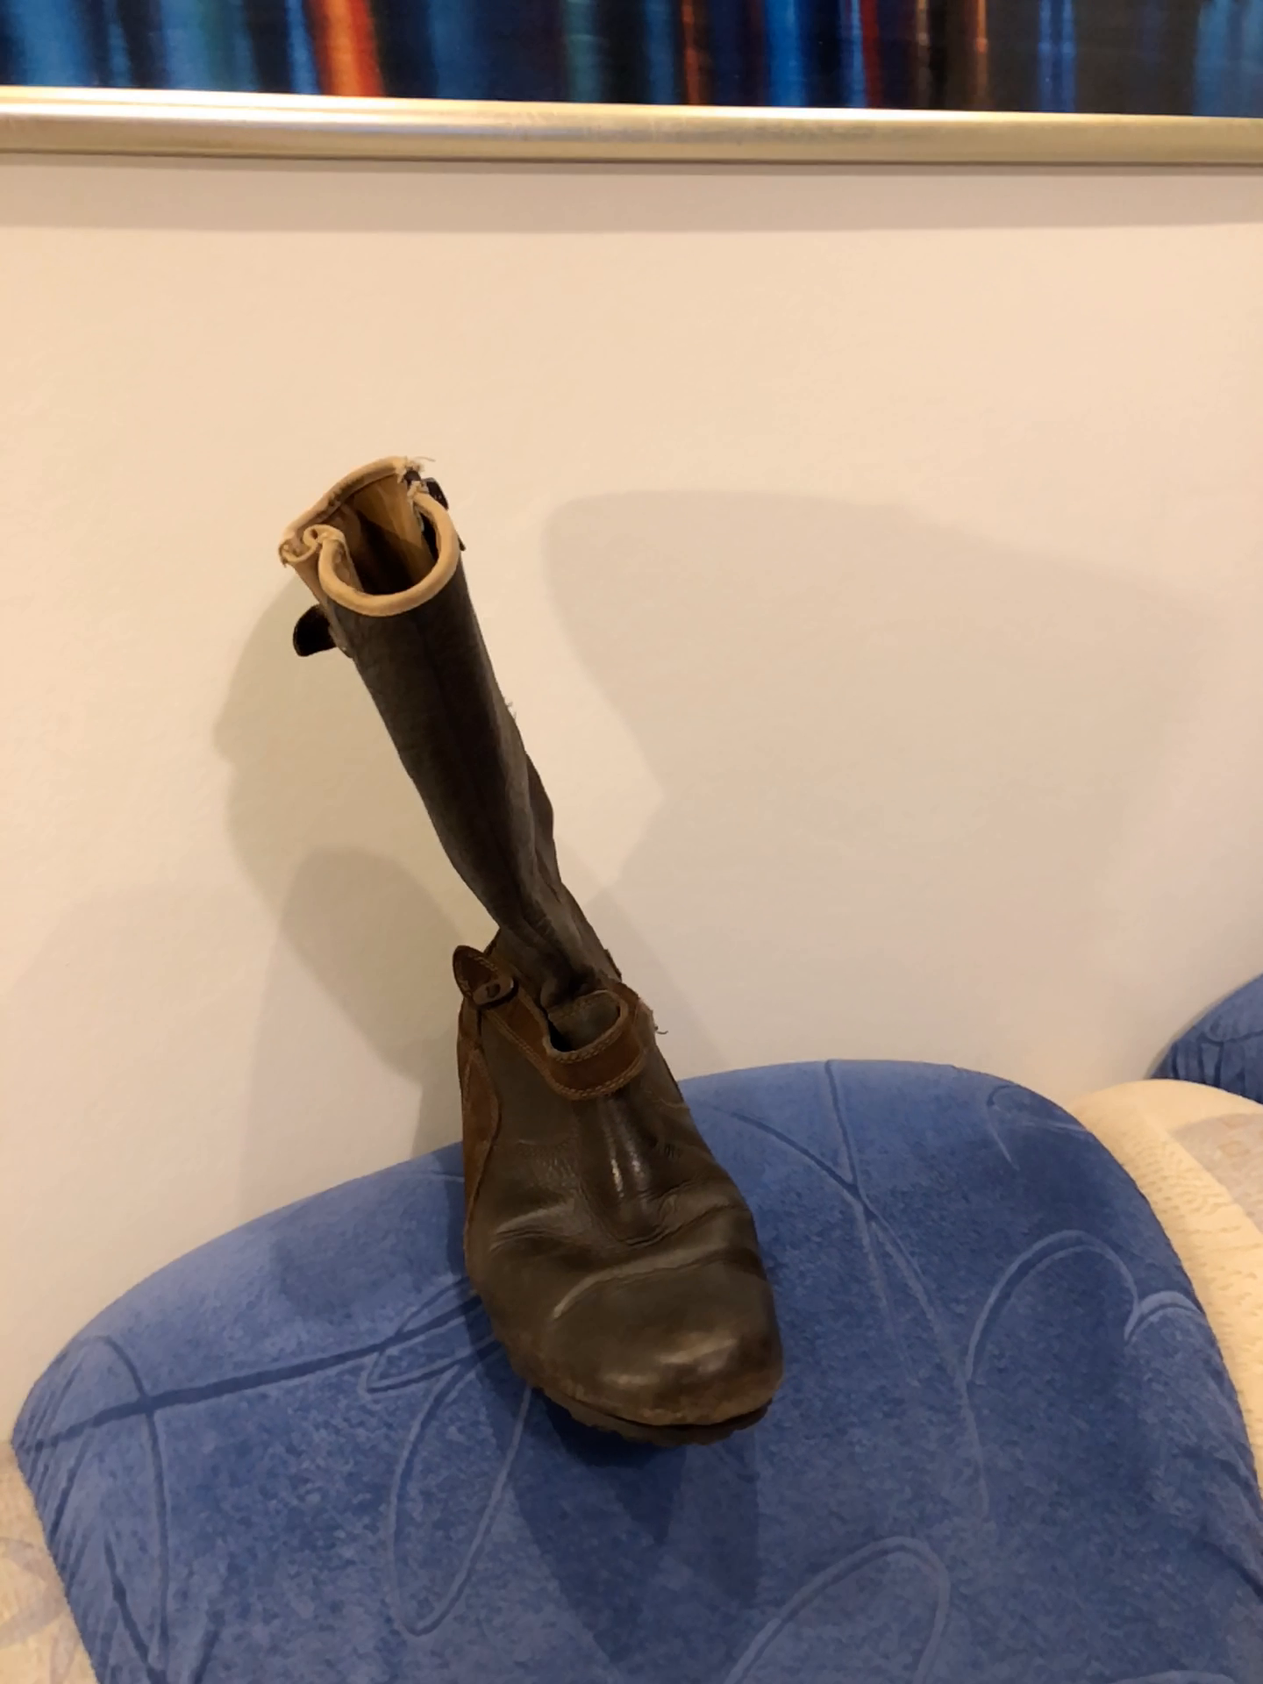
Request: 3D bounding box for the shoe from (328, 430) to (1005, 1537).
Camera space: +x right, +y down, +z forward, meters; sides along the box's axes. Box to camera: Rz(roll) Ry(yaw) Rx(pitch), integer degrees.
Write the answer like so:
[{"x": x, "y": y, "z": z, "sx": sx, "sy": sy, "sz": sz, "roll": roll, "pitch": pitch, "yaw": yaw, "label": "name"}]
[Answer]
[{"x": -0.016, "y": 0.030, "z": 0.503, "sx": 0.110, "sy": 0.278, "sz": 0.272, "roll": -10, "pitch": 34, "yaw": -21, "label": "shoe"}]
